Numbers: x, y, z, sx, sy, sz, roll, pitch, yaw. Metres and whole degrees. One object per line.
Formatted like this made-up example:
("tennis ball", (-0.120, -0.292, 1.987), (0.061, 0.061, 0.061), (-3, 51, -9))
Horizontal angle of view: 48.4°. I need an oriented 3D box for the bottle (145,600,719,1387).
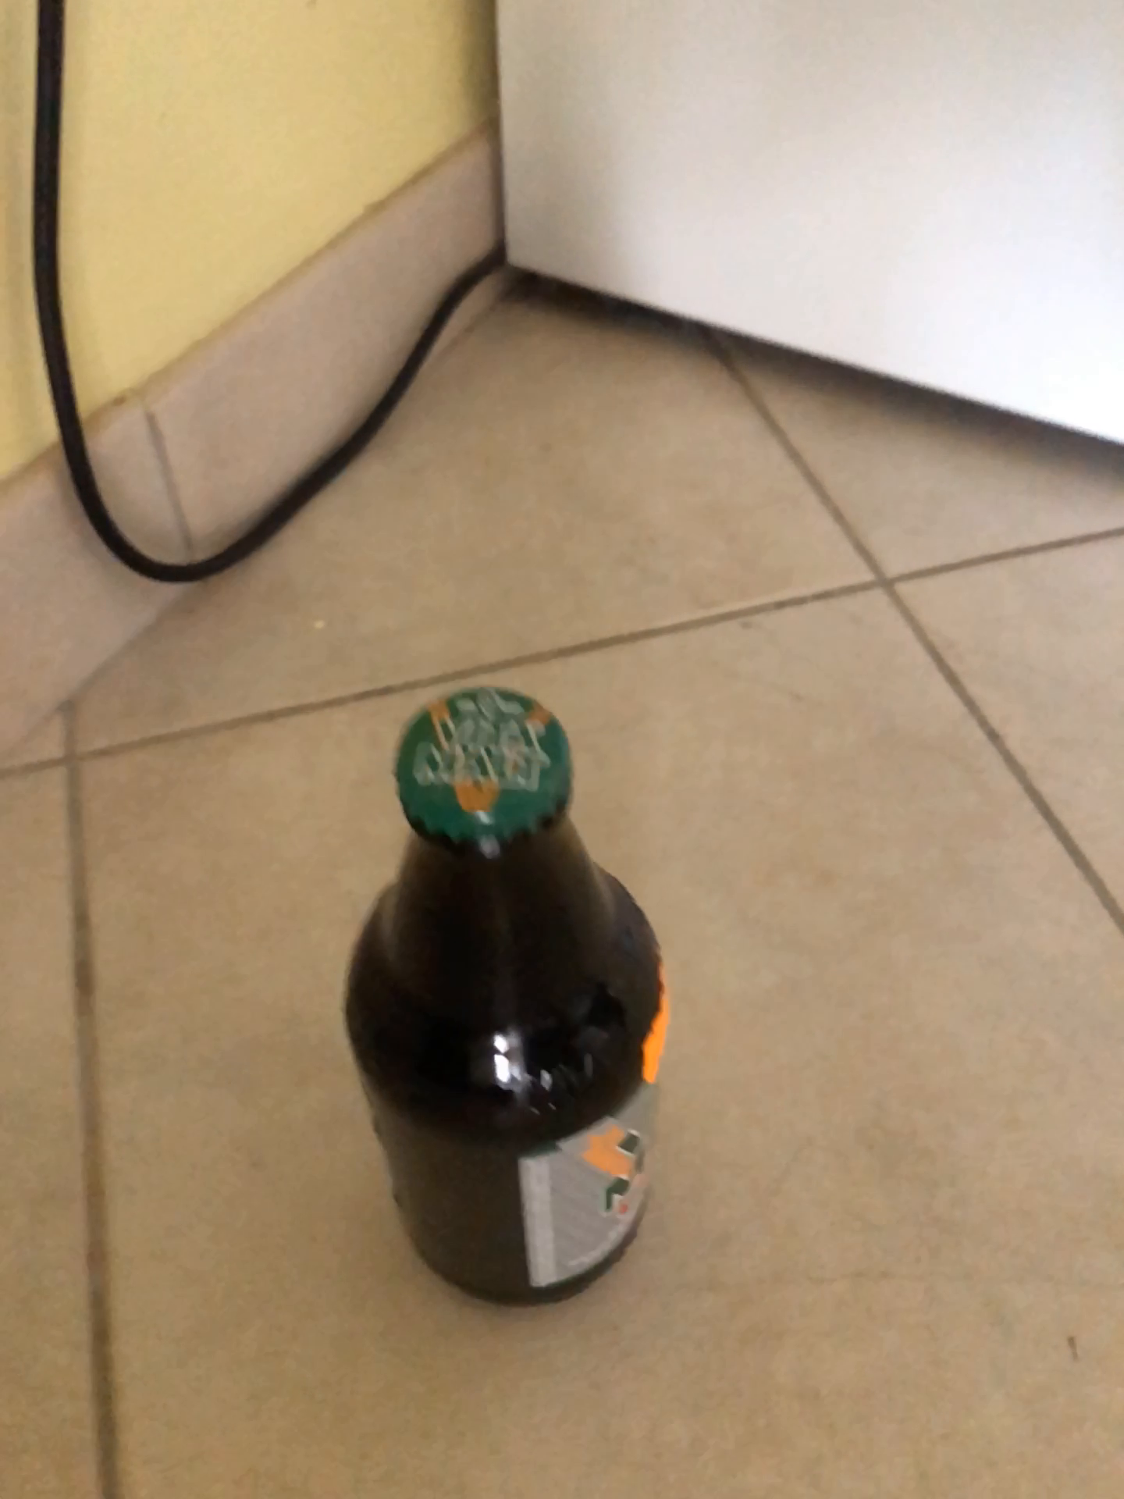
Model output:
("bottle", (-0.015, 0.061, 0.249), (0.070, 0.169, 0.070), (0, 50, 0))
